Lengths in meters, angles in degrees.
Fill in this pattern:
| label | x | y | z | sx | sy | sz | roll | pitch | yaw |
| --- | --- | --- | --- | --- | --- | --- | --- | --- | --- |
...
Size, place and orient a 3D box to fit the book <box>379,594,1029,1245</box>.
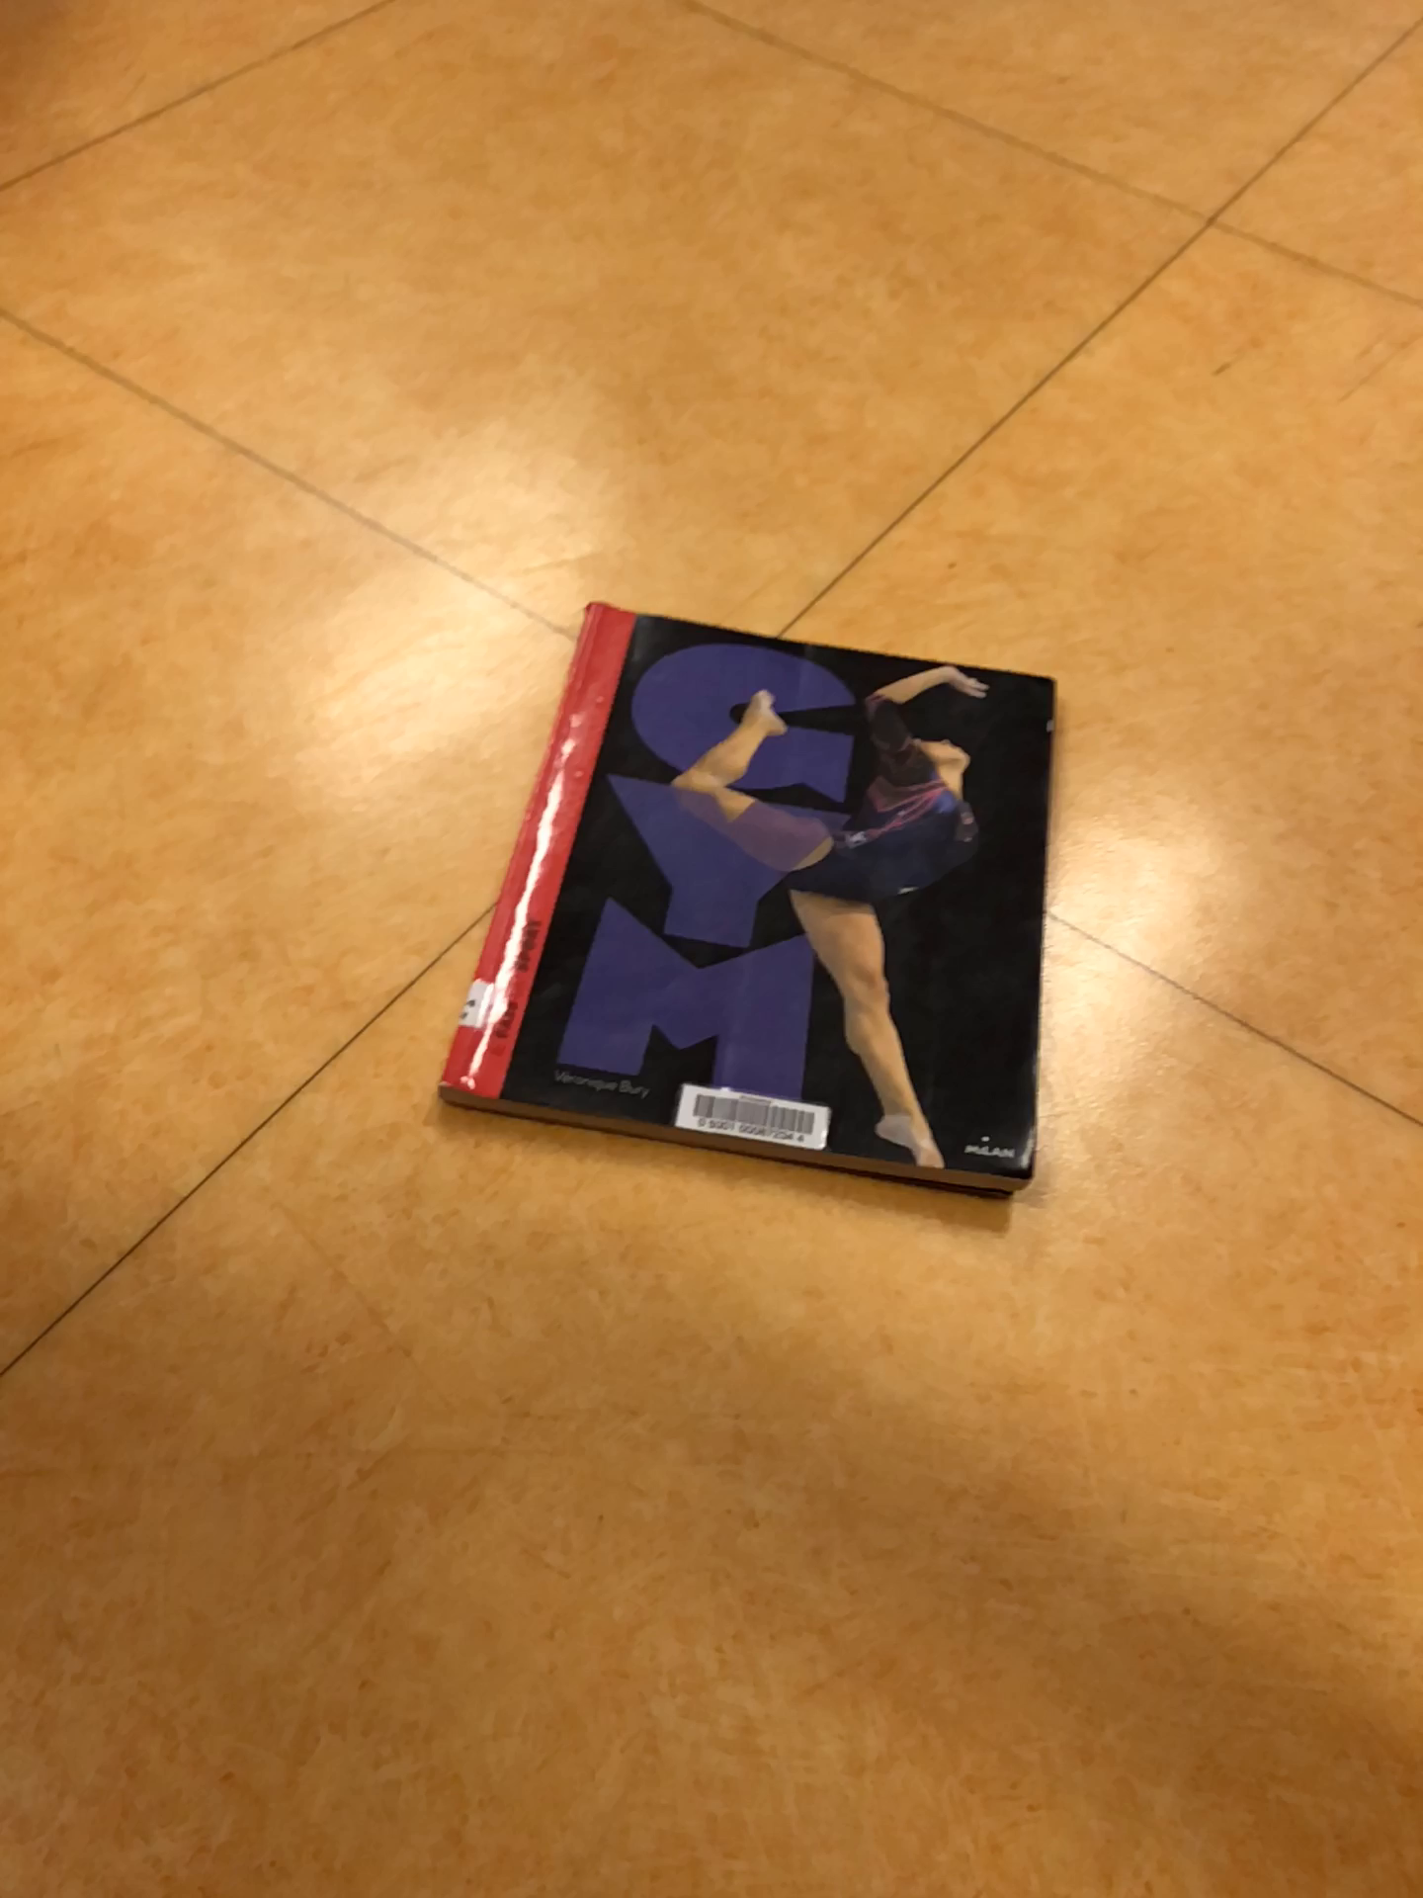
| label | x | y | z | sx | sy | sz | roll | pitch | yaw |
| --- | --- | --- | --- | --- | --- | --- | --- | --- | --- |
| book | 0.010 | -0.023 | 0.558 | 0.193 | 0.030 | 0.235 | 10 | 53 | 2 |
